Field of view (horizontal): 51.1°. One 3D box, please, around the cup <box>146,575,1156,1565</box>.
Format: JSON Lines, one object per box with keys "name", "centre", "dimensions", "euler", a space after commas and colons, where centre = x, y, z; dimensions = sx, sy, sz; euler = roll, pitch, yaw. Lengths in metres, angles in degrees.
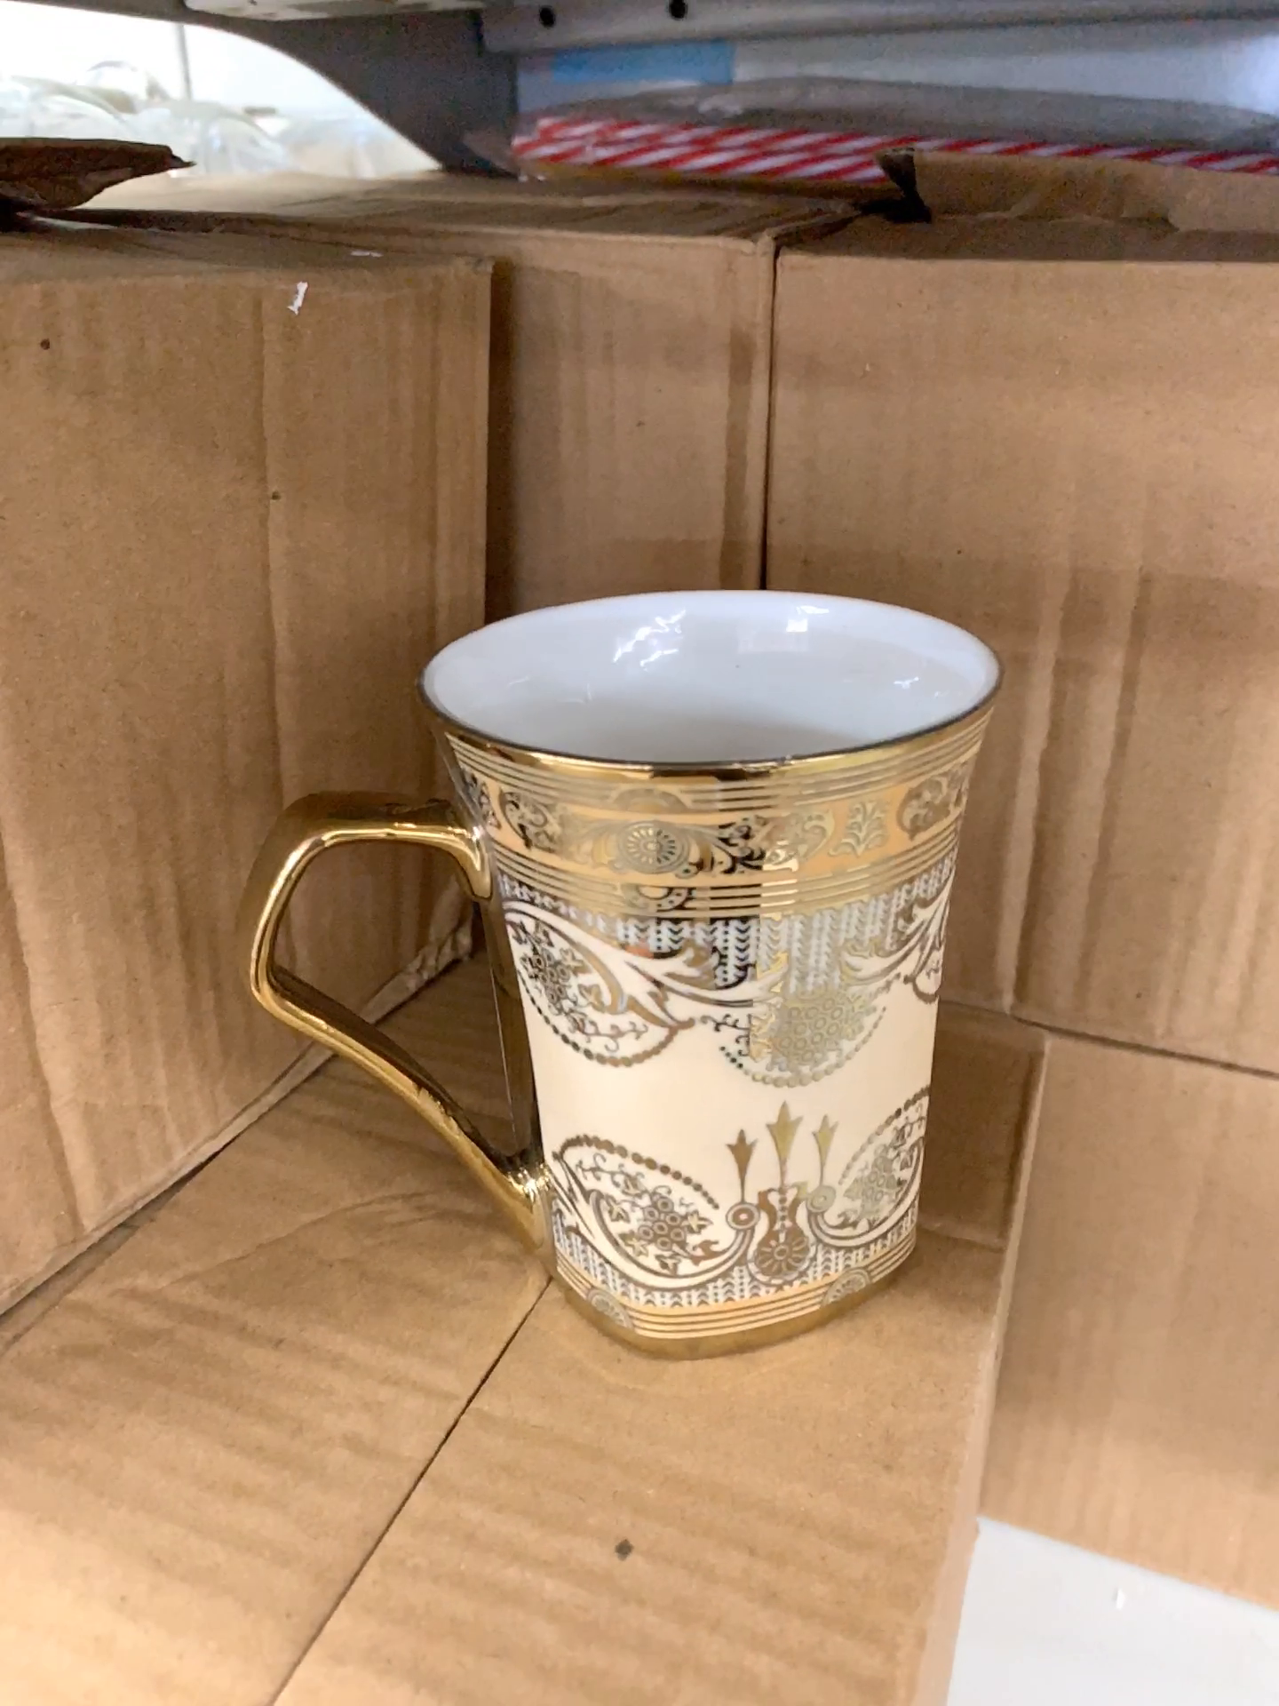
{"name": "cup", "centre": [-0.003, 0.019, 0.196], "dimensions": [0.110, 0.089, 0.080], "euler": [-12, 28, -21]}
